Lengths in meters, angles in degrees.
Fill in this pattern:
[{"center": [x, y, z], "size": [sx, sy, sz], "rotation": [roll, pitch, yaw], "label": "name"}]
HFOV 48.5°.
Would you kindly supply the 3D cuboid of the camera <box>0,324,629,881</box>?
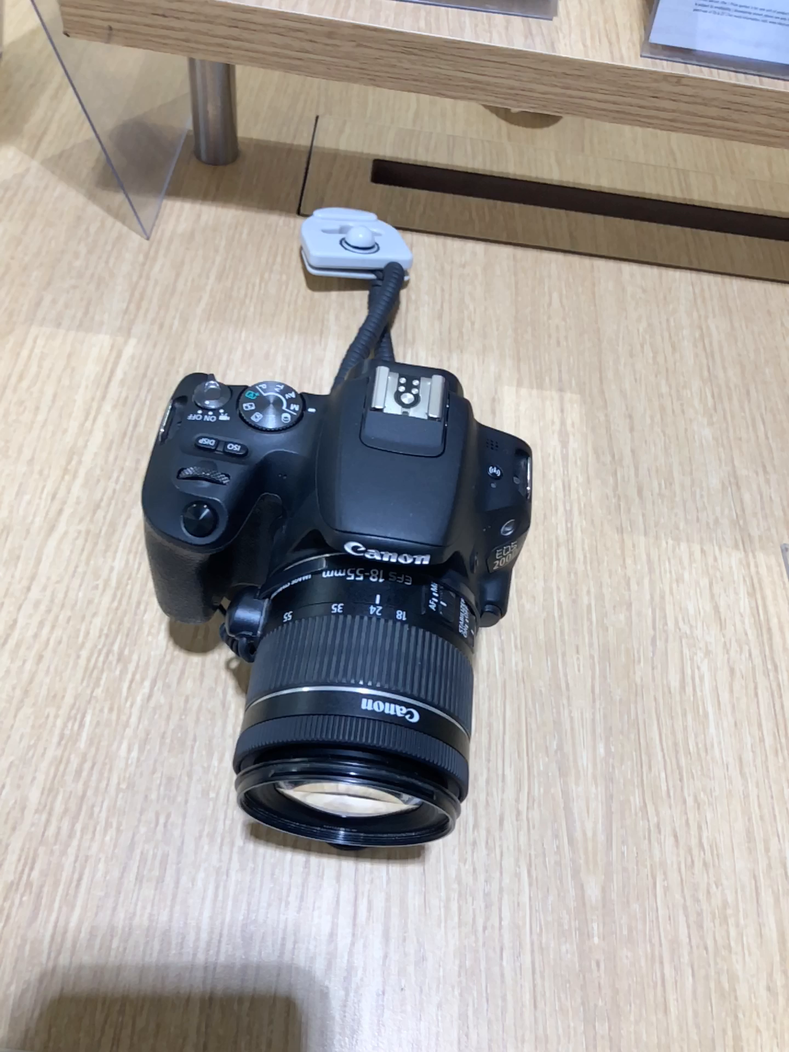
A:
[{"center": [-0.016, 0.022, 0.243], "size": [0.130, 0.080, 0.115], "rotation": [7, 55, -2], "label": "camera"}]
